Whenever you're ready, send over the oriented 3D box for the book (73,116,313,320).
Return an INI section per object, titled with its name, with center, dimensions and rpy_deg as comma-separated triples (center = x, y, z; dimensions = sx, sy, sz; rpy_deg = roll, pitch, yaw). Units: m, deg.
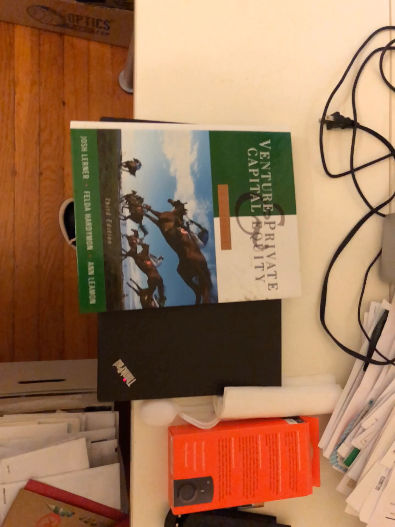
[book]
center = 0.000, -0.057, 0.518
dimensions = 0.270, 0.030, 0.220
rpy_deg = -3, 90, -14
